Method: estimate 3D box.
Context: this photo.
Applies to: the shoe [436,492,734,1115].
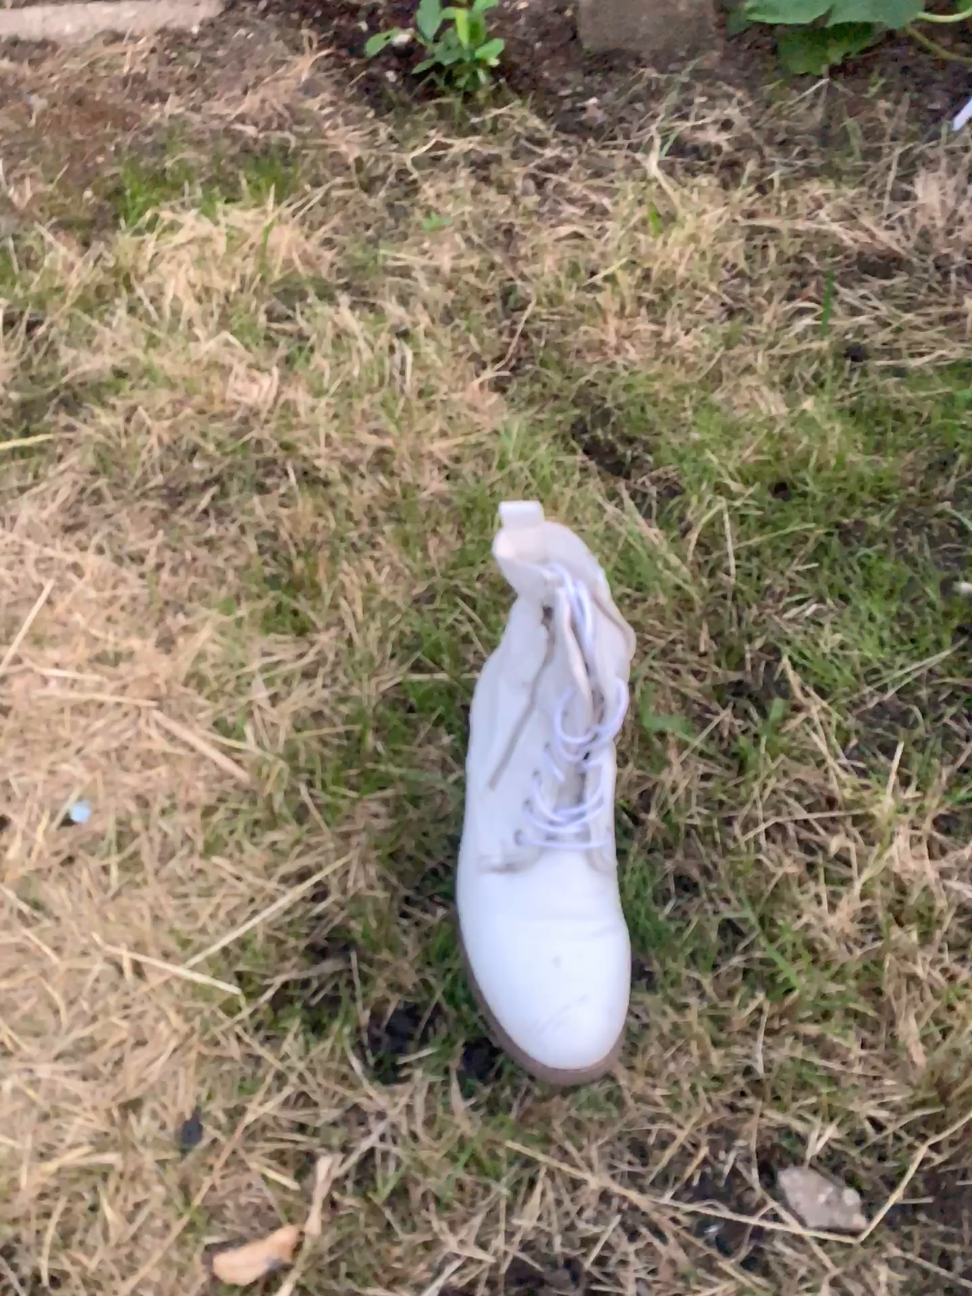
[{"bbox_3d":[0.033,0.077,0.513,0.100,0.178,0.262,-4,52,-2],"label":"shoe"}]
